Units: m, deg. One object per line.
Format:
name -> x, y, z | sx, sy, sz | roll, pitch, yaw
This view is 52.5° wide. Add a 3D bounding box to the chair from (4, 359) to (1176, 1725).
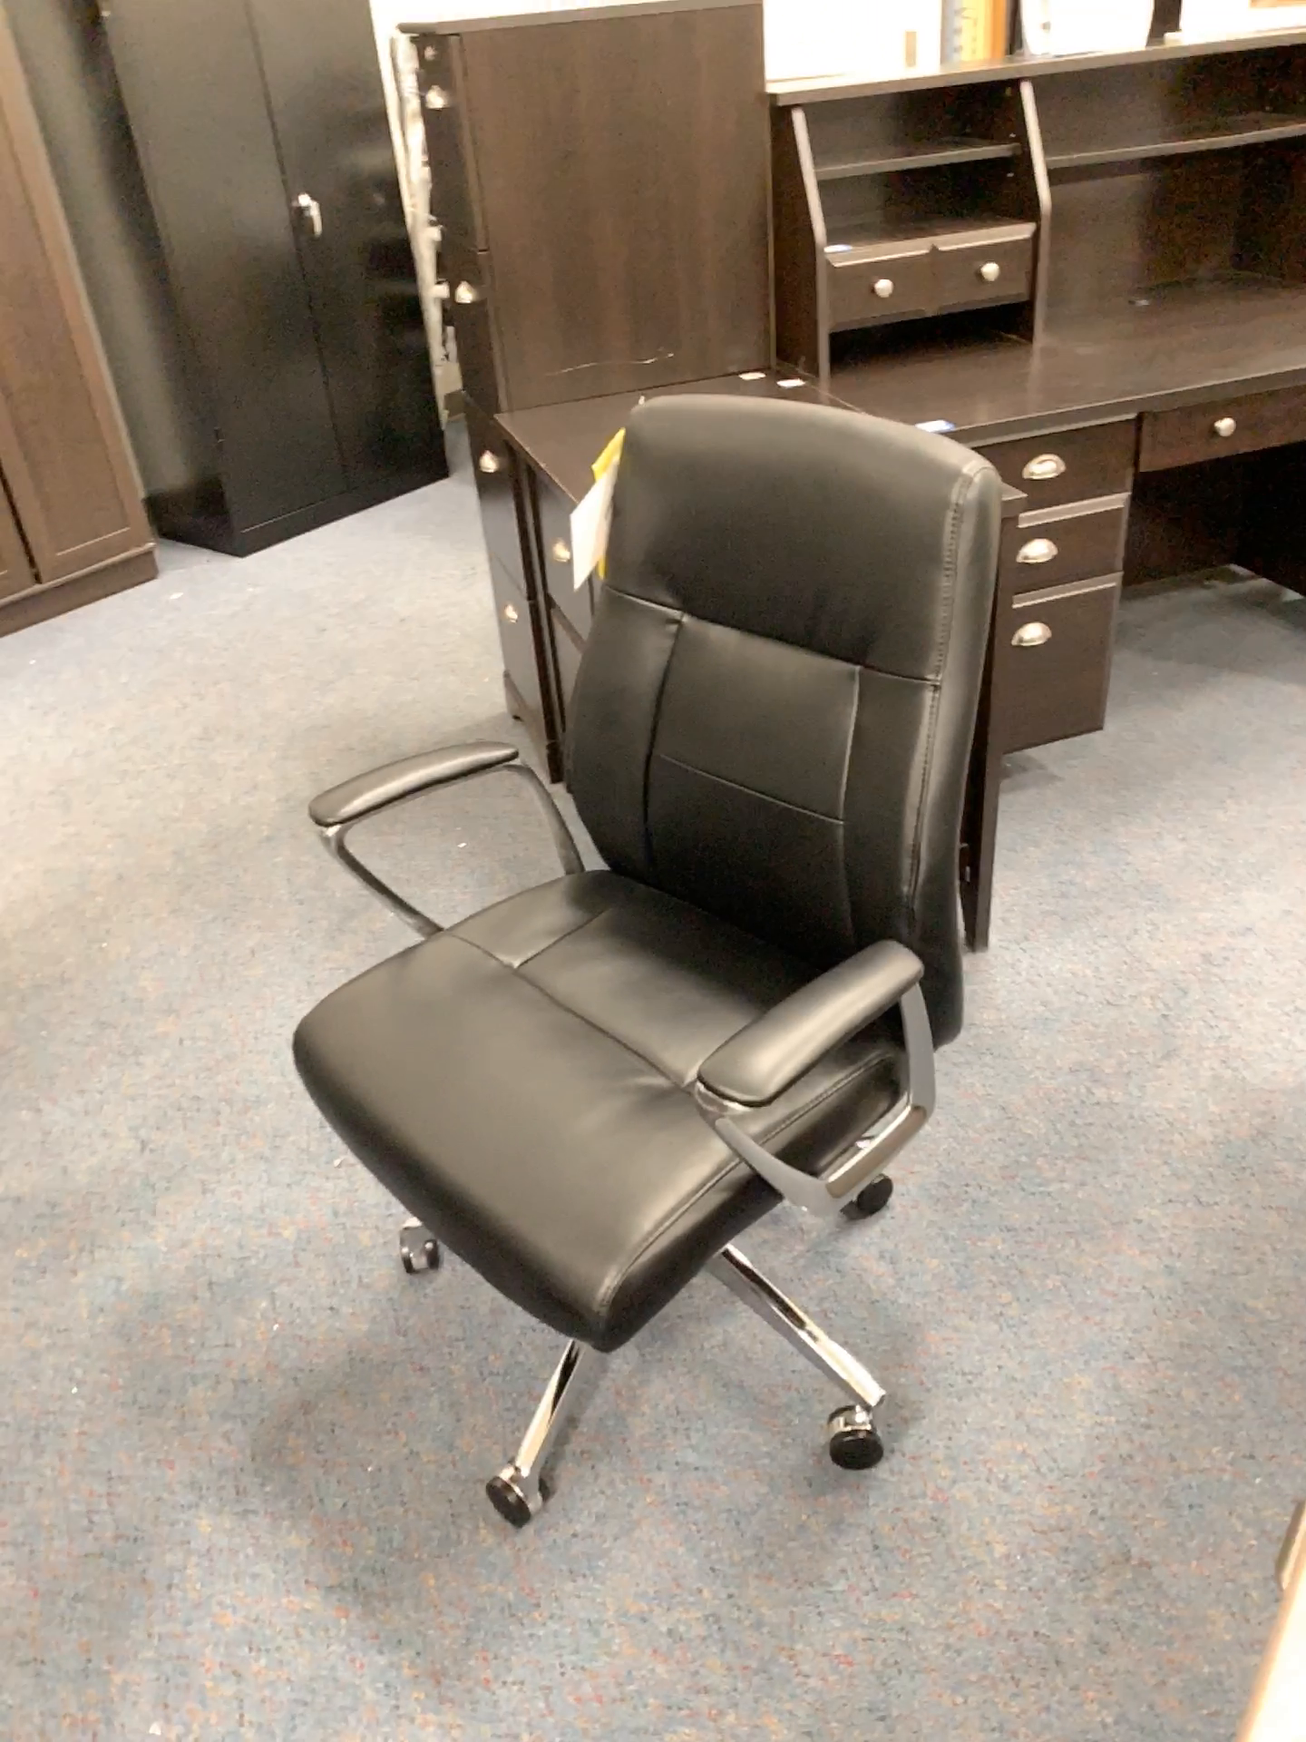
chair -> -0.017, 0.102, 1.365 | 0.718, 0.996, 0.667 | -31, 40, -33
